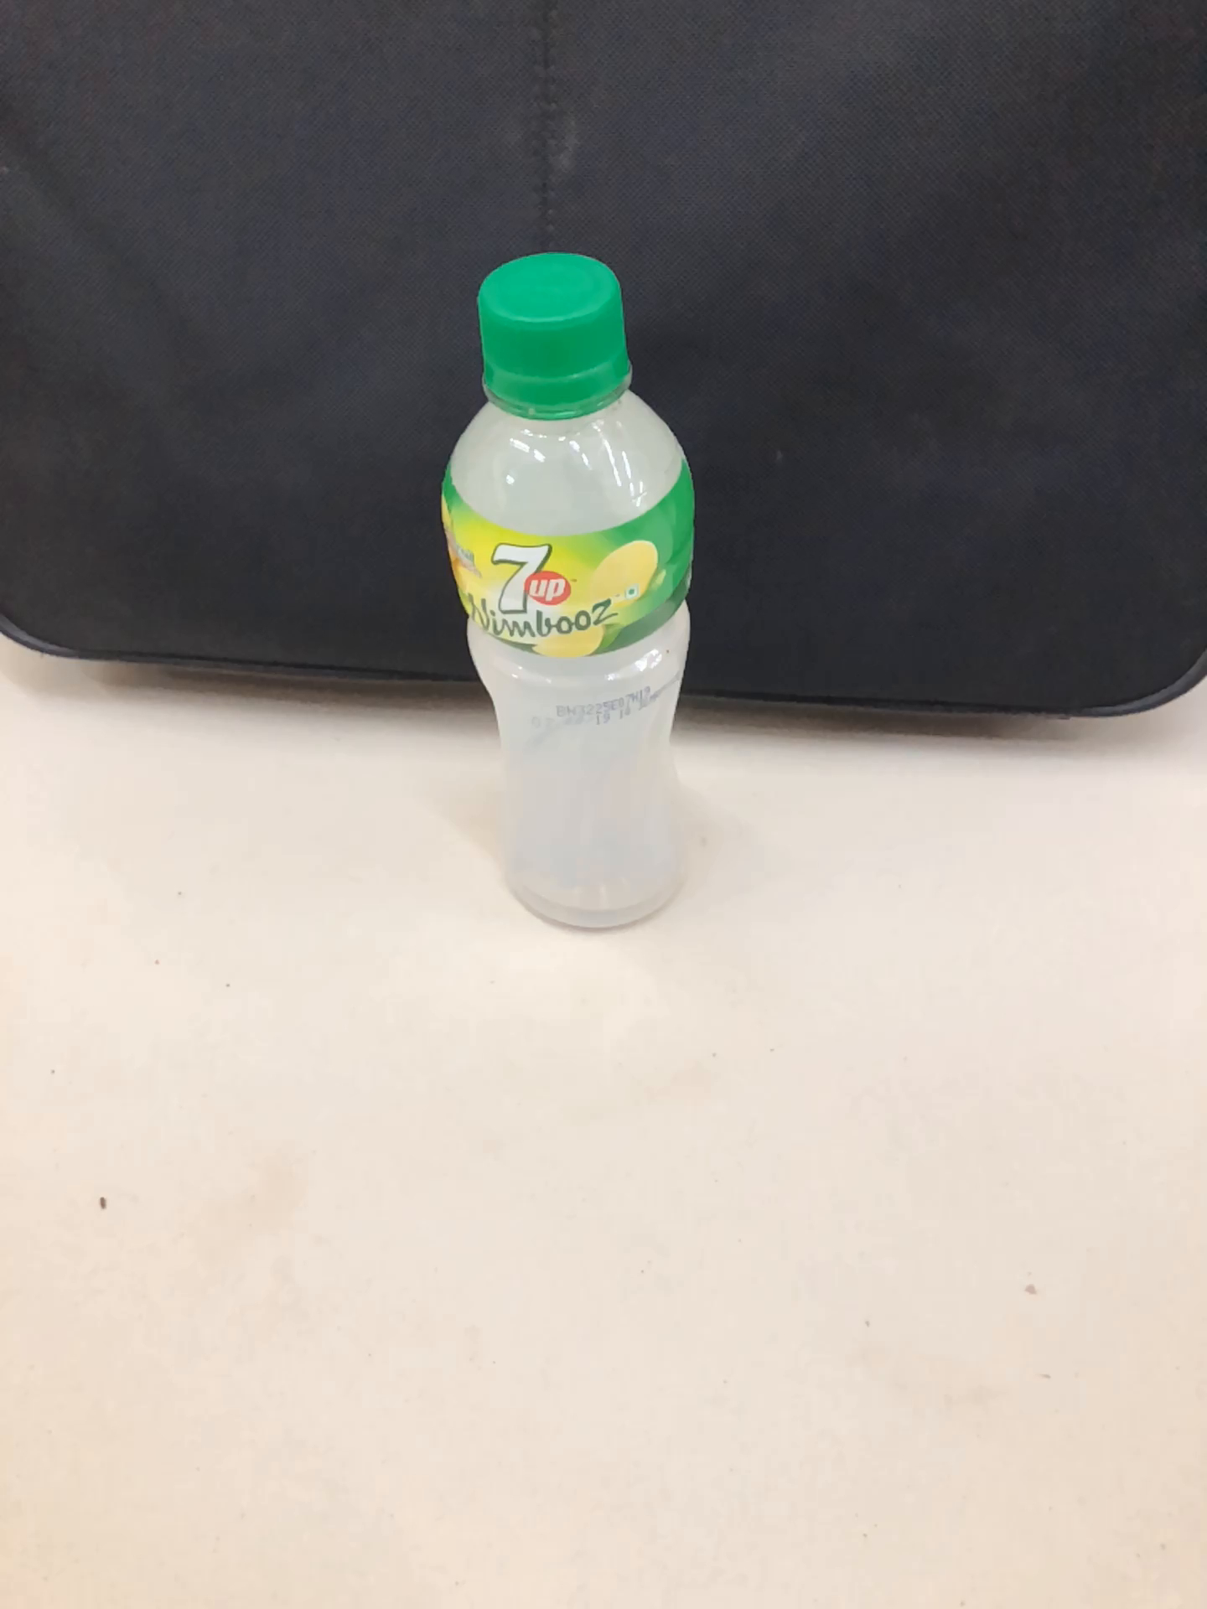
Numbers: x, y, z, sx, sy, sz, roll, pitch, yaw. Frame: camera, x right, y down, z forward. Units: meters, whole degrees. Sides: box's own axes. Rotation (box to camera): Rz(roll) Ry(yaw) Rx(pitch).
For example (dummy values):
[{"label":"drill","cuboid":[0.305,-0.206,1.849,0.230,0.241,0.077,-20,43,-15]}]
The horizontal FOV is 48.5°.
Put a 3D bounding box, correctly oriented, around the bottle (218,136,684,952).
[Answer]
[{"label":"bottle","cuboid":[-0.022,-0.049,0.326,0.070,0.189,0.070,-3,48,4]}]
